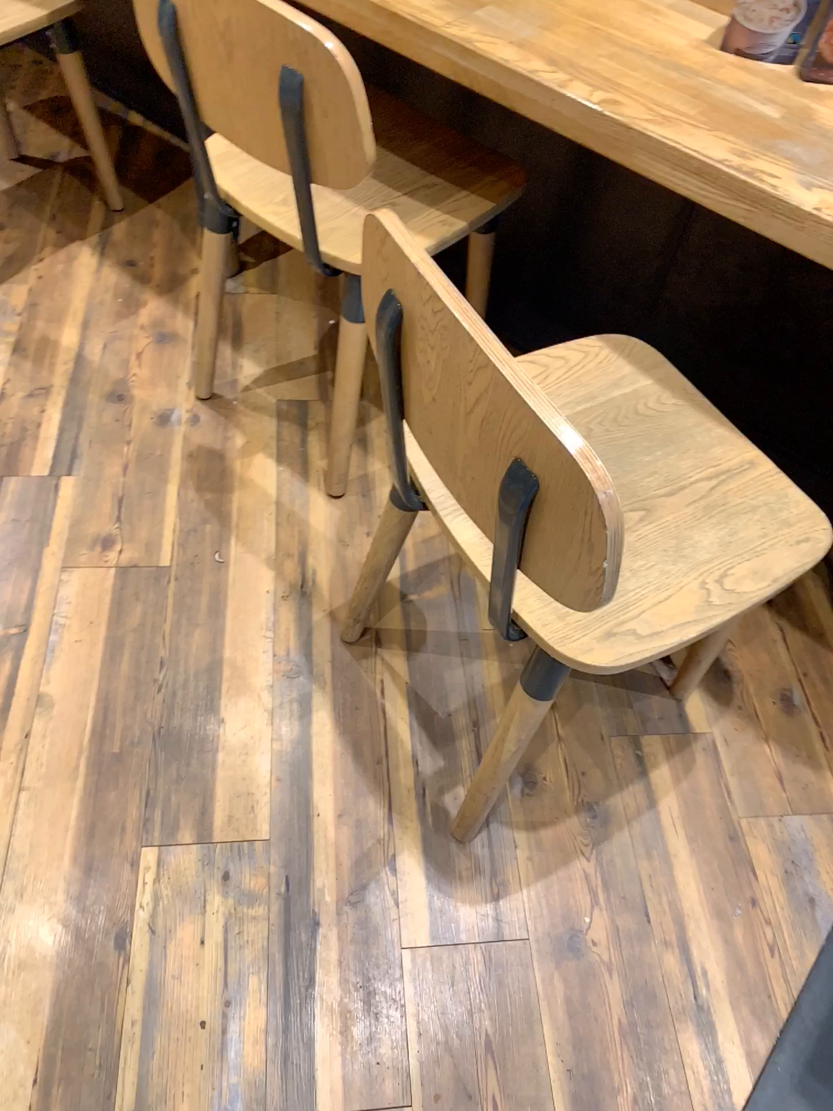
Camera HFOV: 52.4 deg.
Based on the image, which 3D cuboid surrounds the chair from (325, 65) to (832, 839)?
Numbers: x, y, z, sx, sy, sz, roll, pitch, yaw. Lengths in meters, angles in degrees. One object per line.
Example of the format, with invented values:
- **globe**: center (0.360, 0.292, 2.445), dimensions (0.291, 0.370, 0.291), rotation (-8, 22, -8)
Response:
- **chair**: center (0.211, -0.082, 0.989), dimensions (0.501, 0.684, 0.412), rotation (-23, 59, -21)
